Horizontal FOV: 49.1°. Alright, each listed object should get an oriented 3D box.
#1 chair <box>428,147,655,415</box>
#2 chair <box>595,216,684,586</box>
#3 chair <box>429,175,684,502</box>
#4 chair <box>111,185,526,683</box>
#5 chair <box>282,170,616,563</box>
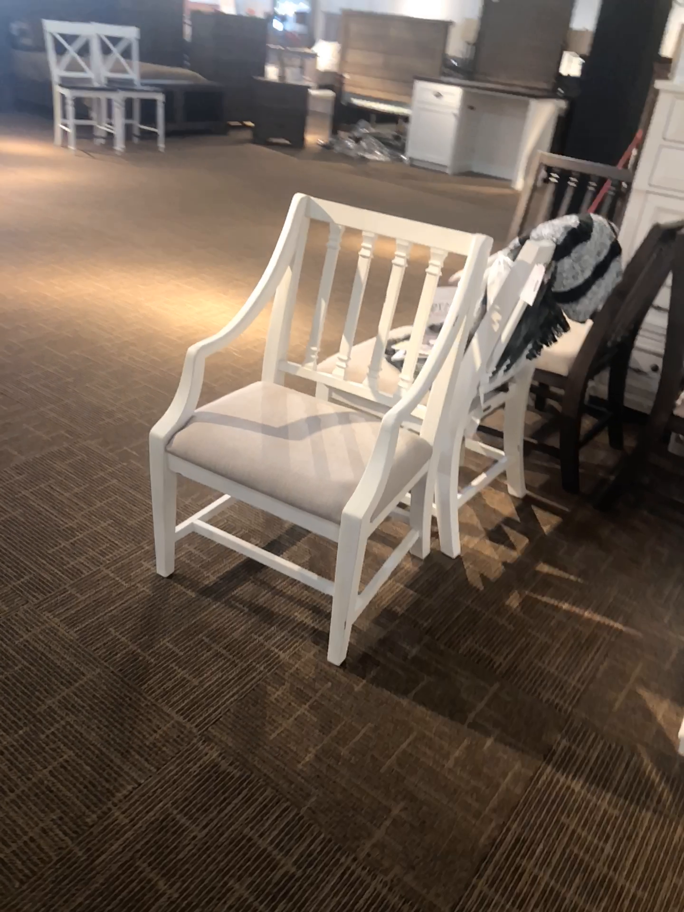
[{"bbox_3d":[0.844,-0.785,3.265,0.541,0.955,0.602,28,35,33],"label":"chair"},{"bbox_3d":[1.417,-0.248,2.522,0.601,0.885,0.874,25,34,30],"label":"chair"},{"bbox_3d":[0.803,-0.454,2.649,0.581,0.885,0.683,25,34,30],"label":"chair"},{"bbox_3d":[-0.072,-0.112,1.825,0.651,0.885,0.633,23,33,27],"label":"chair"},{"bbox_3d":[0.278,-0.303,2.209,0.641,0.885,0.562,25,34,30],"label":"chair"}]
